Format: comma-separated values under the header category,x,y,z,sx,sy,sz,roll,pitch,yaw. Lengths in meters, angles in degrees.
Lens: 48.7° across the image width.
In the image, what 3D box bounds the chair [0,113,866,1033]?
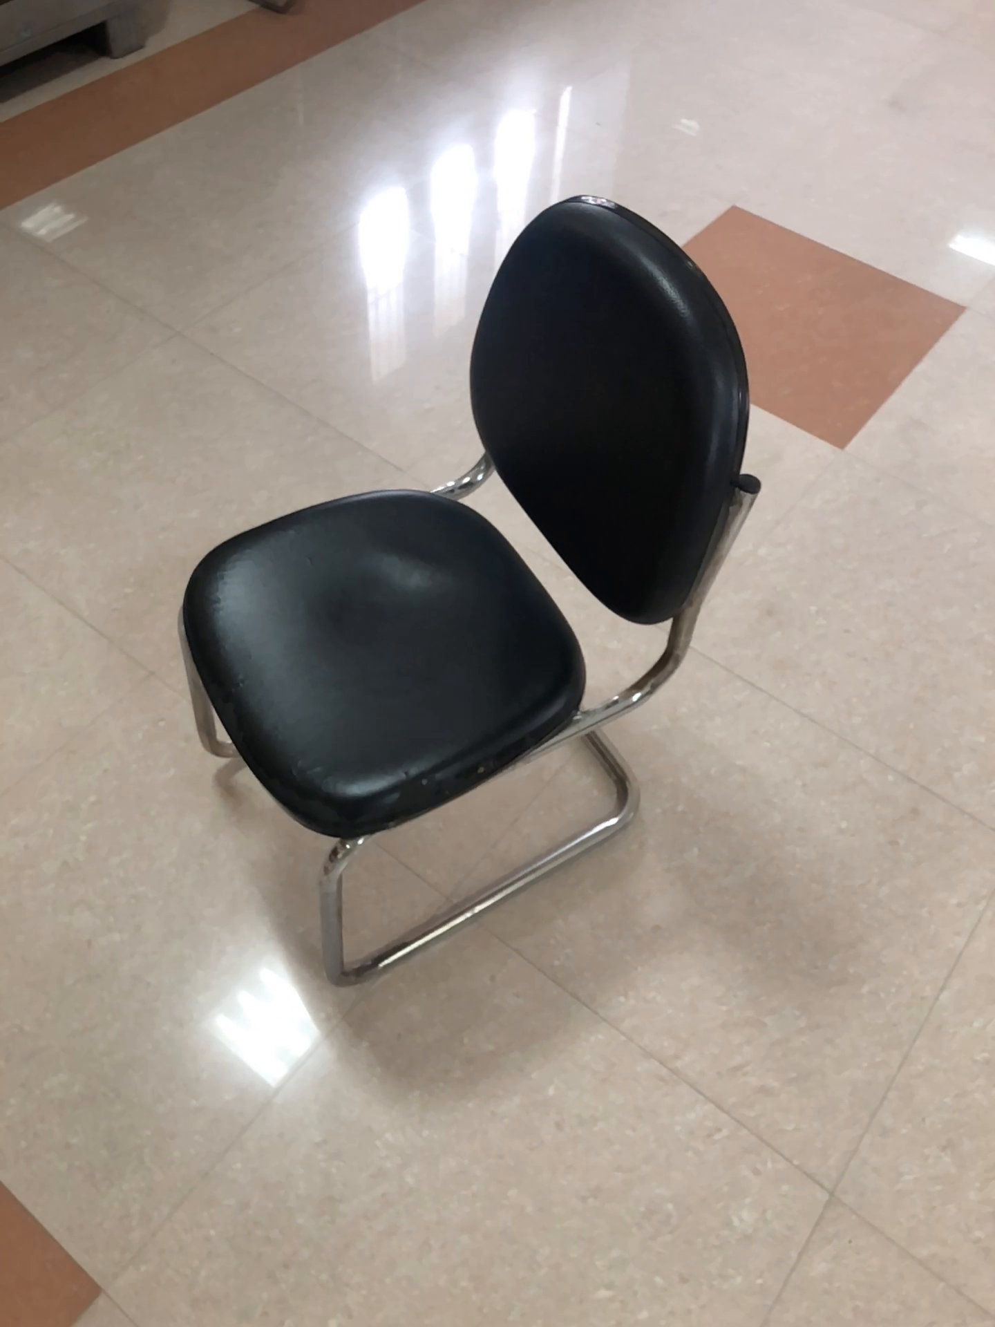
category,x,y,z,sx,sy,sz,roll,pitch,yaw
chair,-0.088,-0.070,1.257,0.590,0.759,0.501,-26,59,-21
